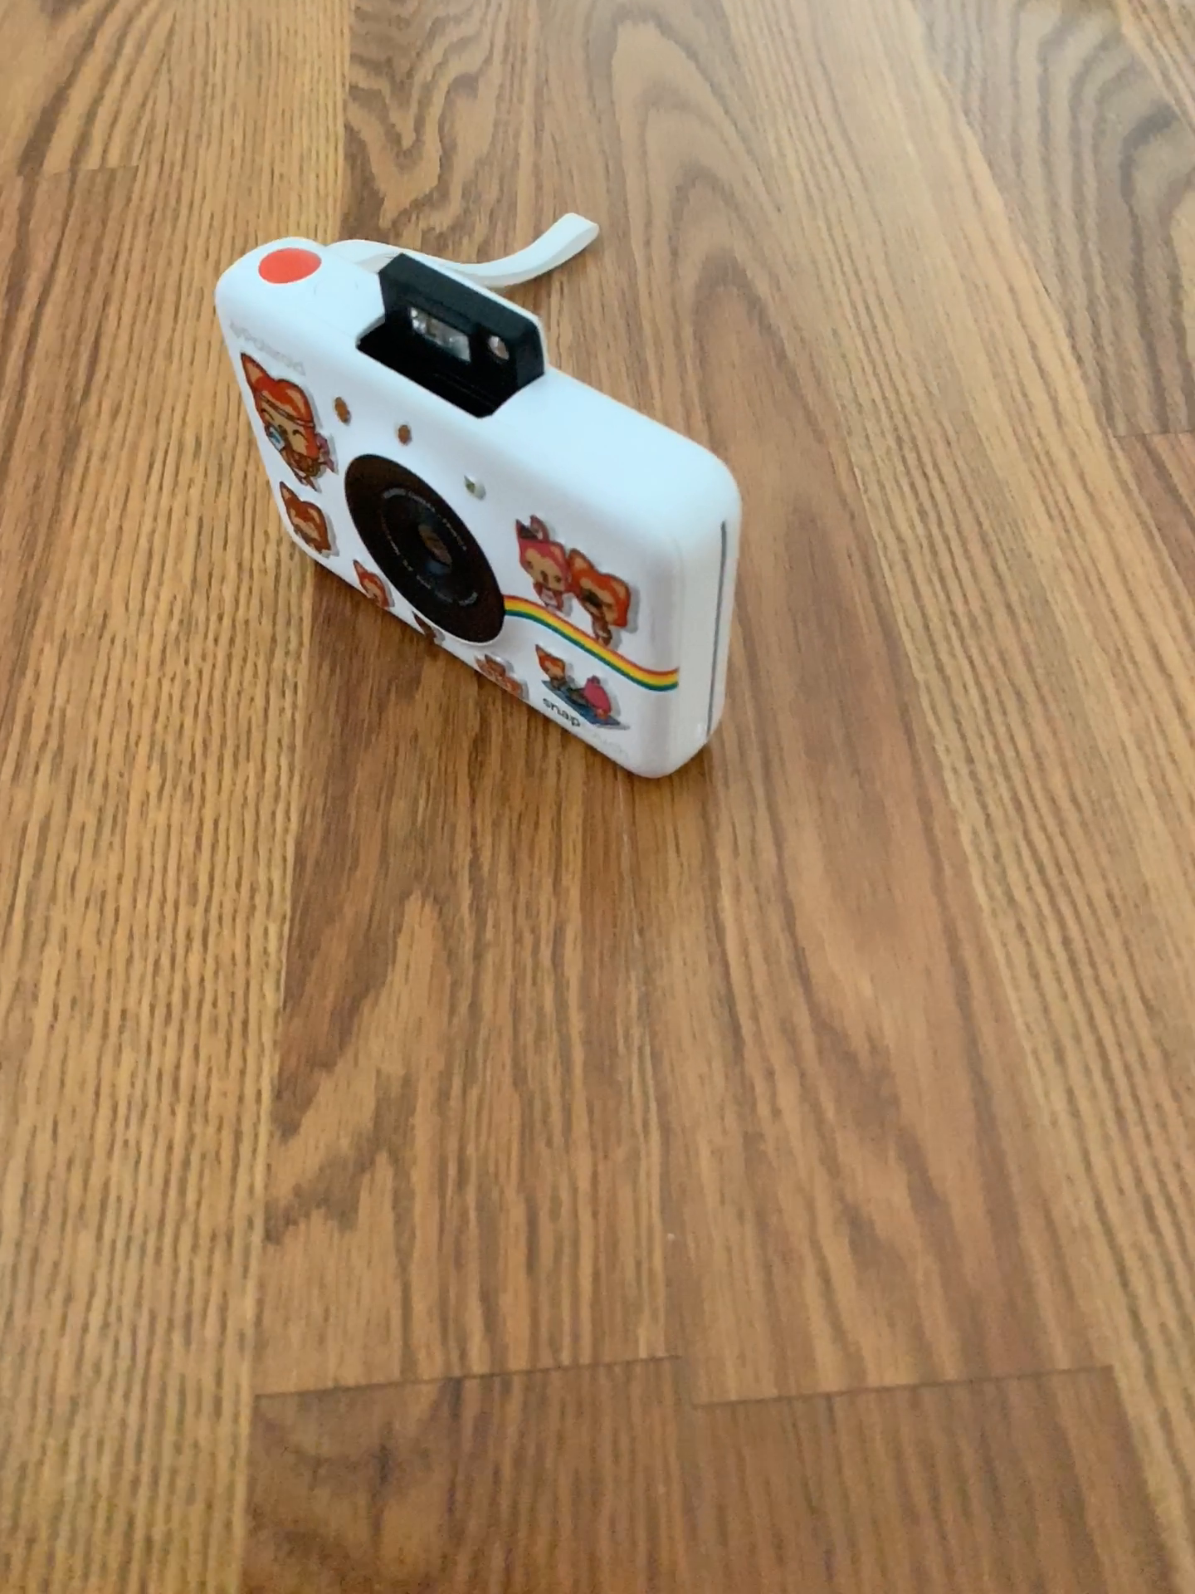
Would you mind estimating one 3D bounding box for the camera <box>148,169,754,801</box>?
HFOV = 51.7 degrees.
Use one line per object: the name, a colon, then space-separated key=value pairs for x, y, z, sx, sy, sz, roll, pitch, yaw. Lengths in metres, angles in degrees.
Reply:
camera: x=-0.029 y=-0.063 z=0.252 sx=0.126 sy=0.081 sz=0.026 roll=35 pitch=64 yaw=23
